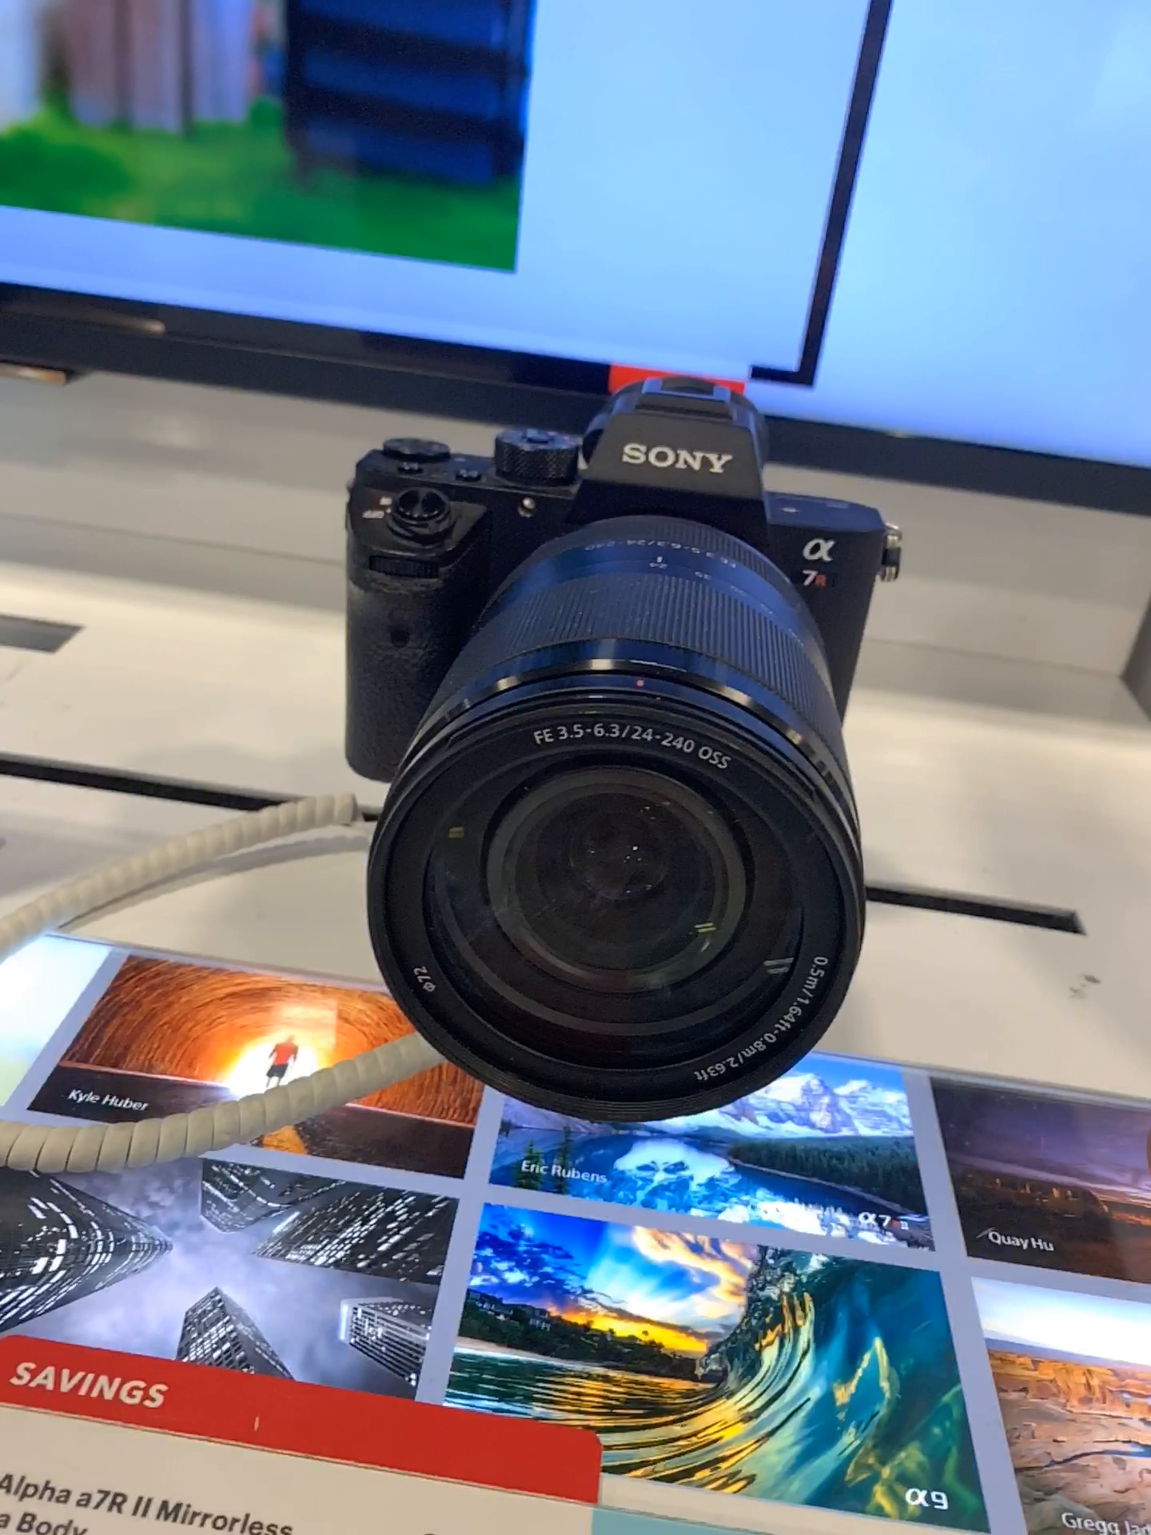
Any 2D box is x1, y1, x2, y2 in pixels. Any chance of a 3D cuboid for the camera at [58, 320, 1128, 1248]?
[{"bbox_3d":[0.003,-0.017,0.245,0.130,0.099,0.173,7,30,1],"label":"camera"}]
